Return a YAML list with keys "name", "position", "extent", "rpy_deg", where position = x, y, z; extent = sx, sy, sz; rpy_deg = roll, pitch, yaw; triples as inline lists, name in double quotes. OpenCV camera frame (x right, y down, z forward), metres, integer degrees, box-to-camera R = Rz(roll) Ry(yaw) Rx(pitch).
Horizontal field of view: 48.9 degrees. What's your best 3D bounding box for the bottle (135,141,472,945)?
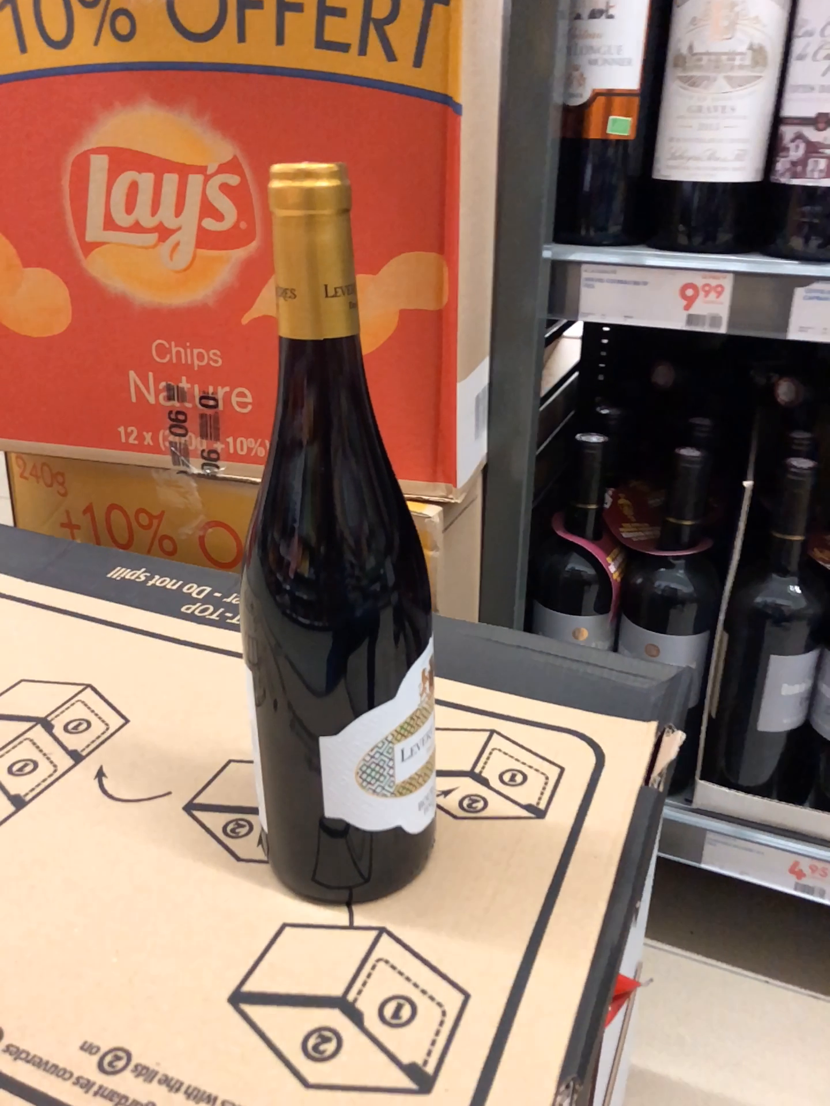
- name: "bottle"
  position: [-0.033, 0.001, 0.363]
  extent: [0.080, 0.298, 0.091]
  rpy_deg: [8, 25, 16]
